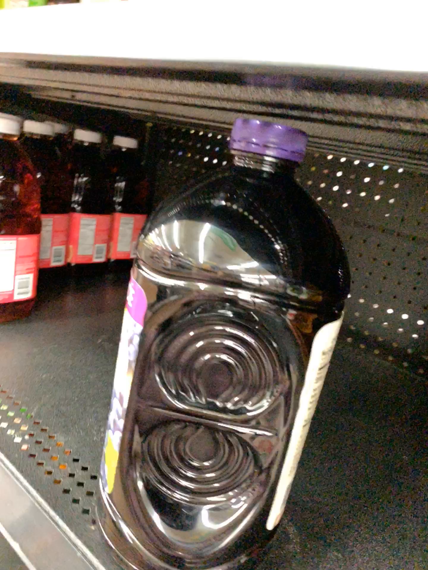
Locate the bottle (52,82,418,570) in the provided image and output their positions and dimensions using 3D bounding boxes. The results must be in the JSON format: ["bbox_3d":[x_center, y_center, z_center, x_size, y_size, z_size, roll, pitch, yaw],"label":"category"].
[{"bbox_3d":[0.002,0.039,0.289,0.140,0.279,0.130,10,17,-3],"label":"bottle"}]
